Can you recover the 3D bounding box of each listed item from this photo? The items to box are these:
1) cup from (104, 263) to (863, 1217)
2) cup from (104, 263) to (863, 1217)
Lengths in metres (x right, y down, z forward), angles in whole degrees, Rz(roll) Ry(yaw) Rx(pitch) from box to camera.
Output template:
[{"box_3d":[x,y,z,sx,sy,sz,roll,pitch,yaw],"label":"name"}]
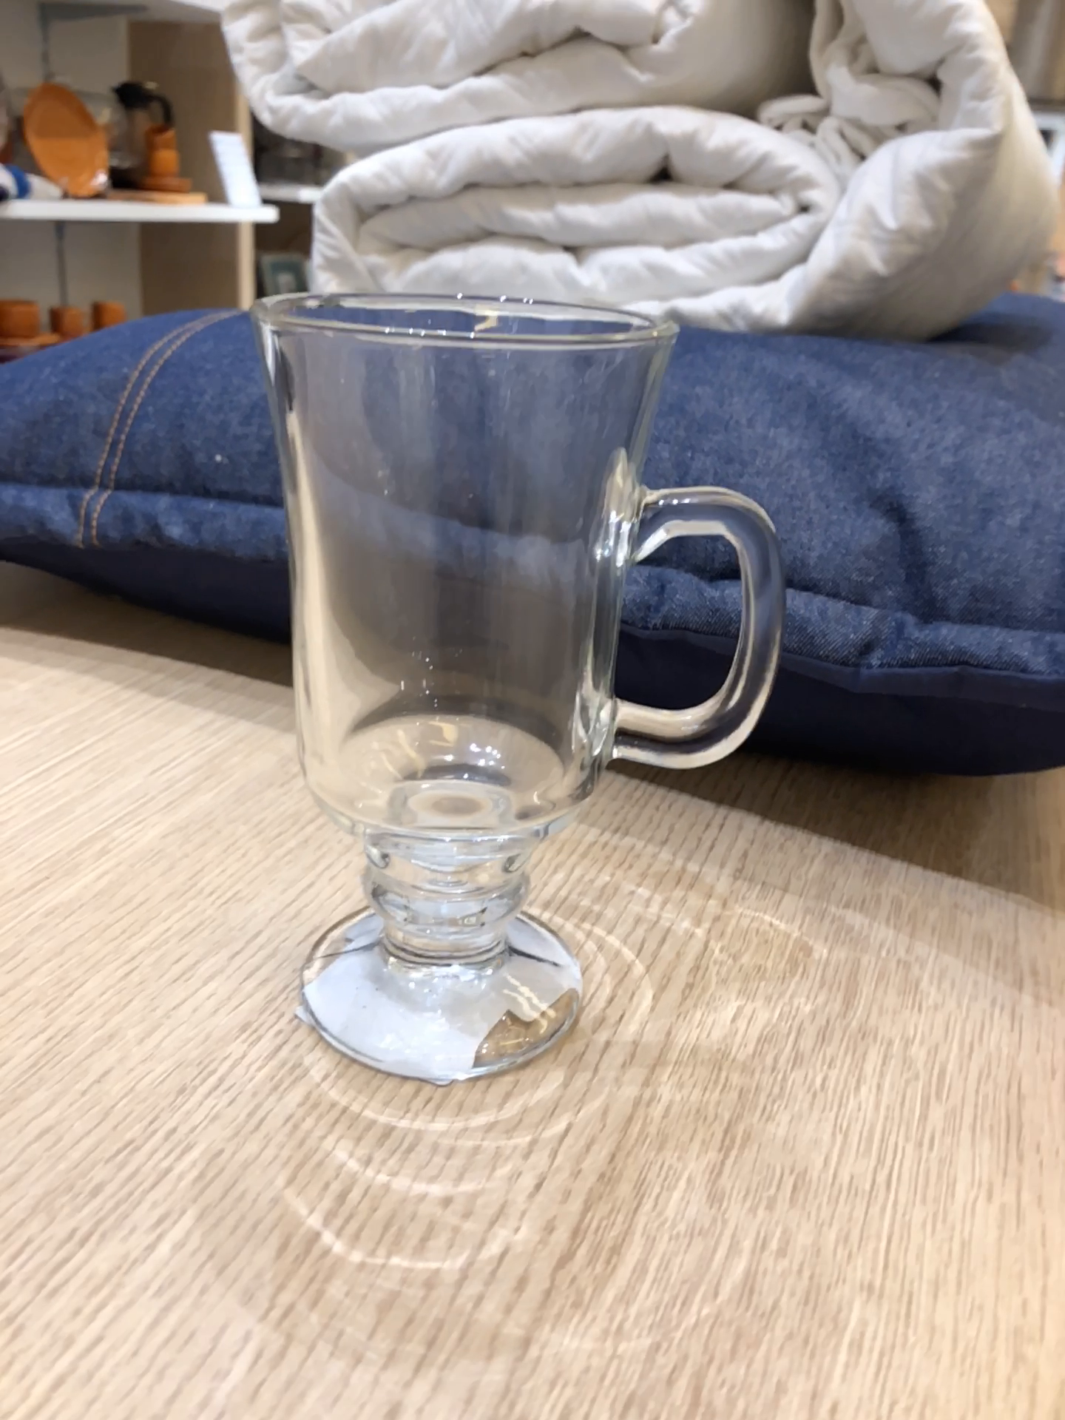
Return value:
[{"box_3d":[-0.005,-0.004,0.237,0.110,0.149,0.091,10,23,14],"label":"cup"},{"box_3d":[-0.005,-0.004,0.237,0.110,0.149,0.091,10,23,14],"label":"cup"}]
